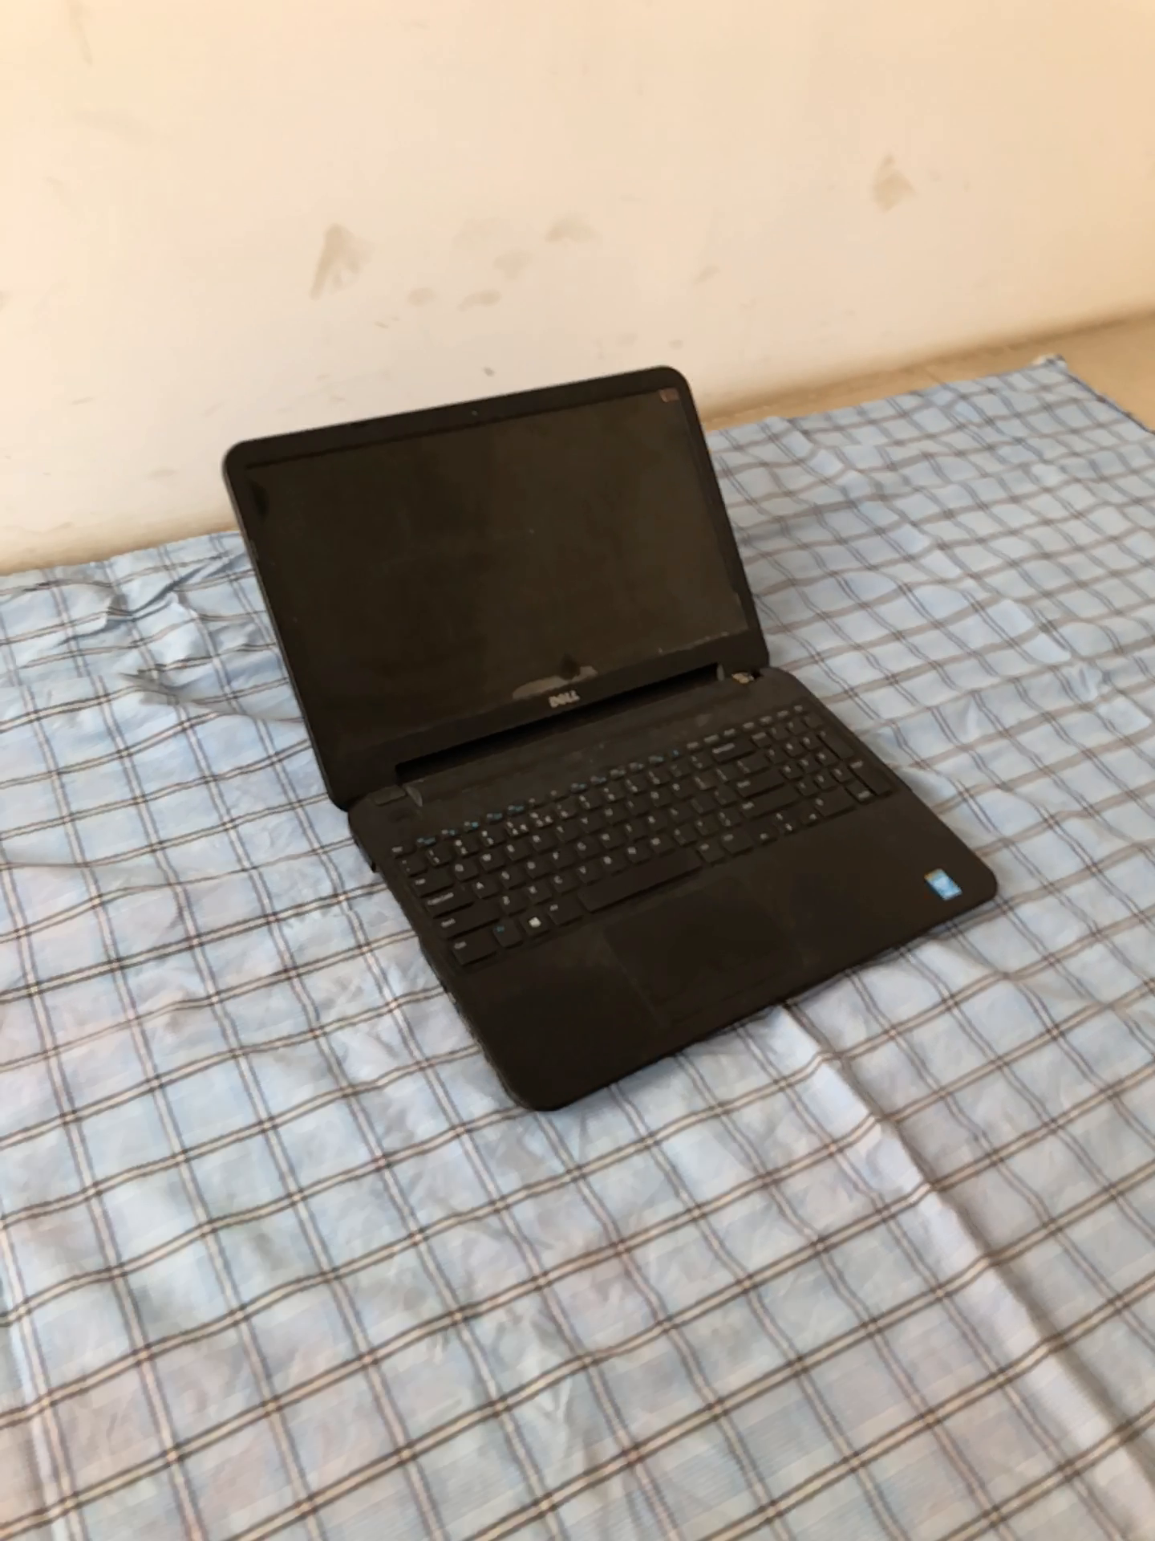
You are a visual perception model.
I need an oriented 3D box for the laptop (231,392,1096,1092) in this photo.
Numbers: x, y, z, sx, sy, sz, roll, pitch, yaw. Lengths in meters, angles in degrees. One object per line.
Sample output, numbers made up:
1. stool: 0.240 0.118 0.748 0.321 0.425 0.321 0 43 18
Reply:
1. laptop: 0.029 -0.060 0.820 0.356 0.163 0.414 -18 47 -27
